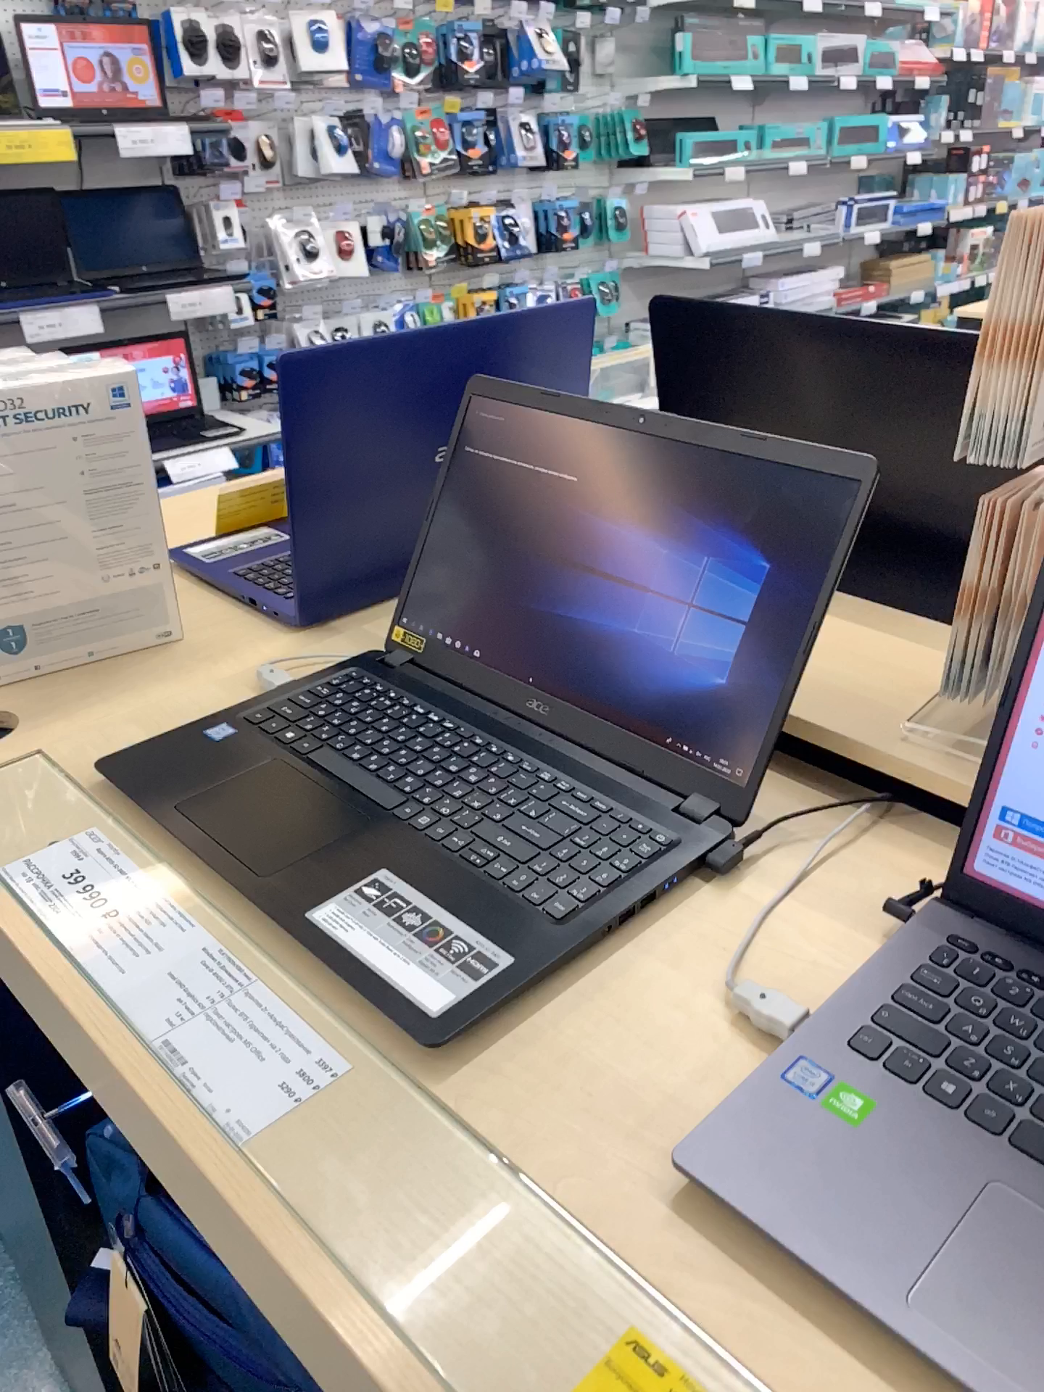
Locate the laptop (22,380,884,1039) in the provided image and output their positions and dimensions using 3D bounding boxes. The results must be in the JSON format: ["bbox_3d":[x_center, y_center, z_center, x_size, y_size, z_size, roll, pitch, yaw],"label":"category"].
[{"bbox_3d":[-0.042,-0.047,0.719,0.376,0.216,0.377,-26,36,-38],"label":"laptop"}]
